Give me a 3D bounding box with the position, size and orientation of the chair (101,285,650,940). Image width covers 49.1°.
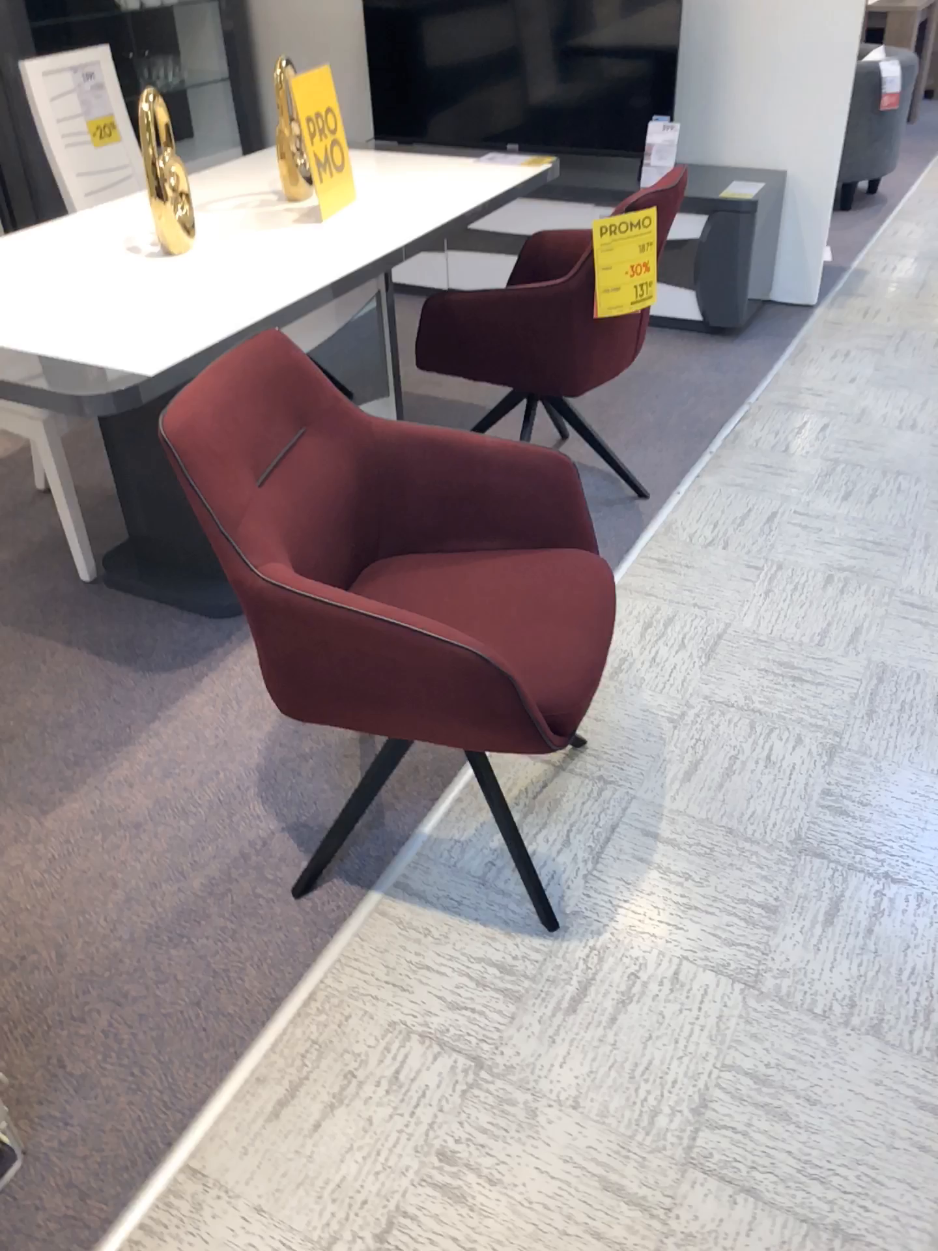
[{"bbox_3d":[-0.063,-0.045,1.554,0.570,0.736,0.584,6,36,12],"label":"chair"}]
